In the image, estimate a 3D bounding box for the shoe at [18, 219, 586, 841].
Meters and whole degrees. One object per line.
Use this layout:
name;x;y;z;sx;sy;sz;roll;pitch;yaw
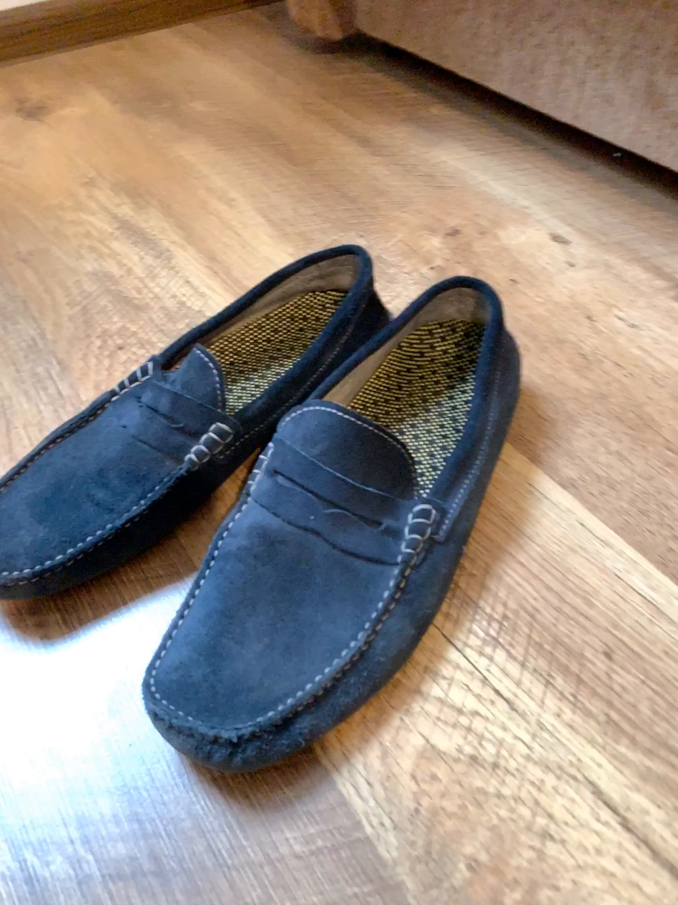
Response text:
shoe;0.011;0.002;0.327;0.110;0.070;0.291;22;52;21

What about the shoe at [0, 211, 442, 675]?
shoe;-0.075;-0.025;0.363;0.270;0.070;0.100;-37;56;-27
